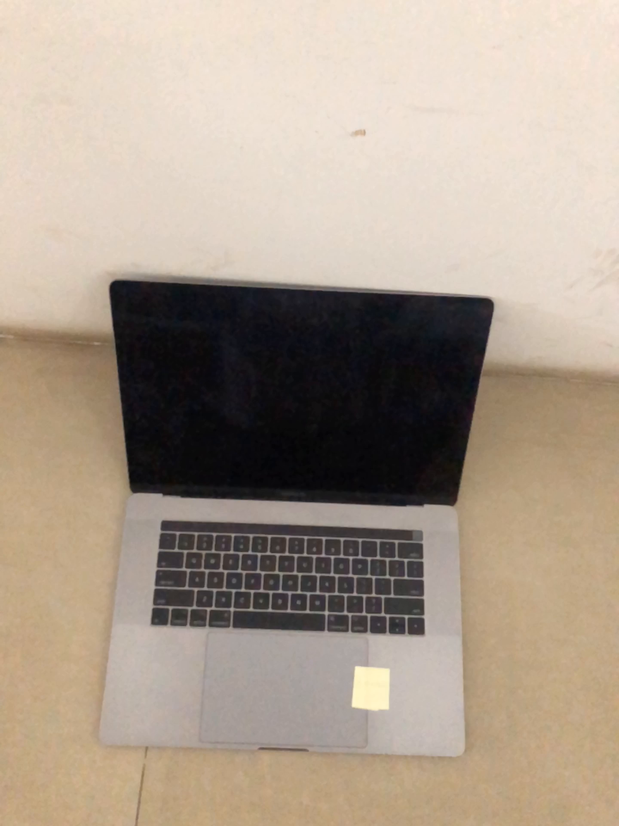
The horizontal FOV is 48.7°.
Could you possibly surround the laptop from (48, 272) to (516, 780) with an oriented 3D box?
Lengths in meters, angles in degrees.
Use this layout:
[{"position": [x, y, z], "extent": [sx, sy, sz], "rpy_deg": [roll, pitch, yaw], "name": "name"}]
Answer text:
[{"position": [-0.014, 0.094, 0.613], "extent": [0.329, 0.163, 0.380], "rpy_deg": [3, 73, -1], "name": "laptop"}]
